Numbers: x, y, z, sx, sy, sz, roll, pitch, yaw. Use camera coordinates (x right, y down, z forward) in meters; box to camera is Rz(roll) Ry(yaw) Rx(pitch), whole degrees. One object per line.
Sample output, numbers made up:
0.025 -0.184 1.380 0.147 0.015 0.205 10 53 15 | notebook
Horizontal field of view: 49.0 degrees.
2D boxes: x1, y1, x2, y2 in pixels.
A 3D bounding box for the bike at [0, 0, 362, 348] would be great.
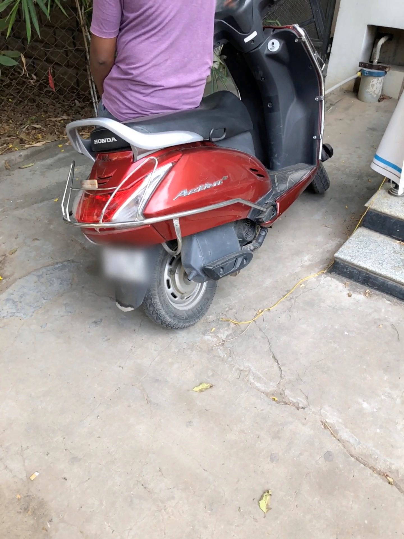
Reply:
0.069 -0.652 1.831 0.572 1.056 1.487 19 41 22 | bike
